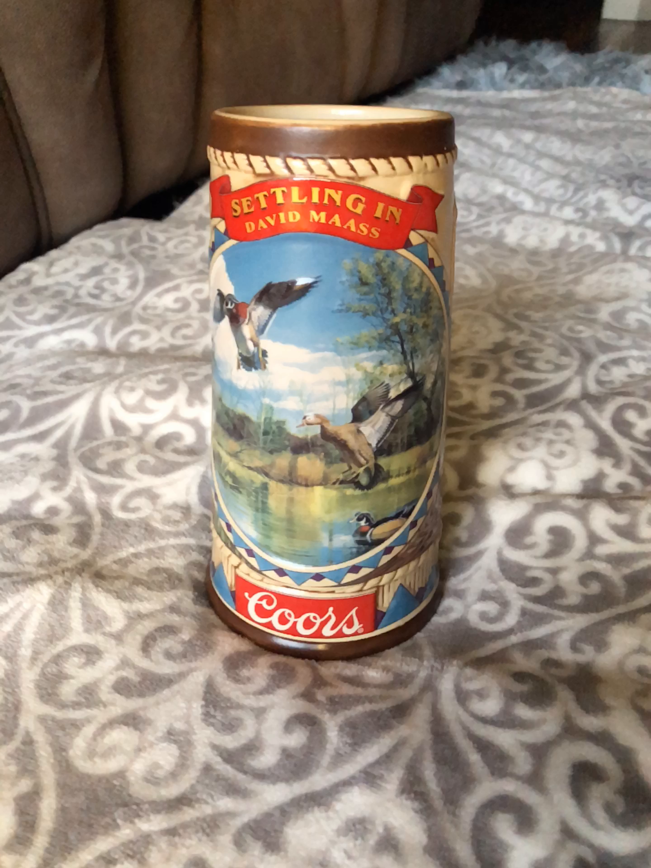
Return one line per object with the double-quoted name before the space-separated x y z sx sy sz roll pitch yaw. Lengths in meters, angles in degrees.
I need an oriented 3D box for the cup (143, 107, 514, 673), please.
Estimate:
"cup" 0.003 -0.029 0.297 0.098 0.188 0.145 1 25 2
